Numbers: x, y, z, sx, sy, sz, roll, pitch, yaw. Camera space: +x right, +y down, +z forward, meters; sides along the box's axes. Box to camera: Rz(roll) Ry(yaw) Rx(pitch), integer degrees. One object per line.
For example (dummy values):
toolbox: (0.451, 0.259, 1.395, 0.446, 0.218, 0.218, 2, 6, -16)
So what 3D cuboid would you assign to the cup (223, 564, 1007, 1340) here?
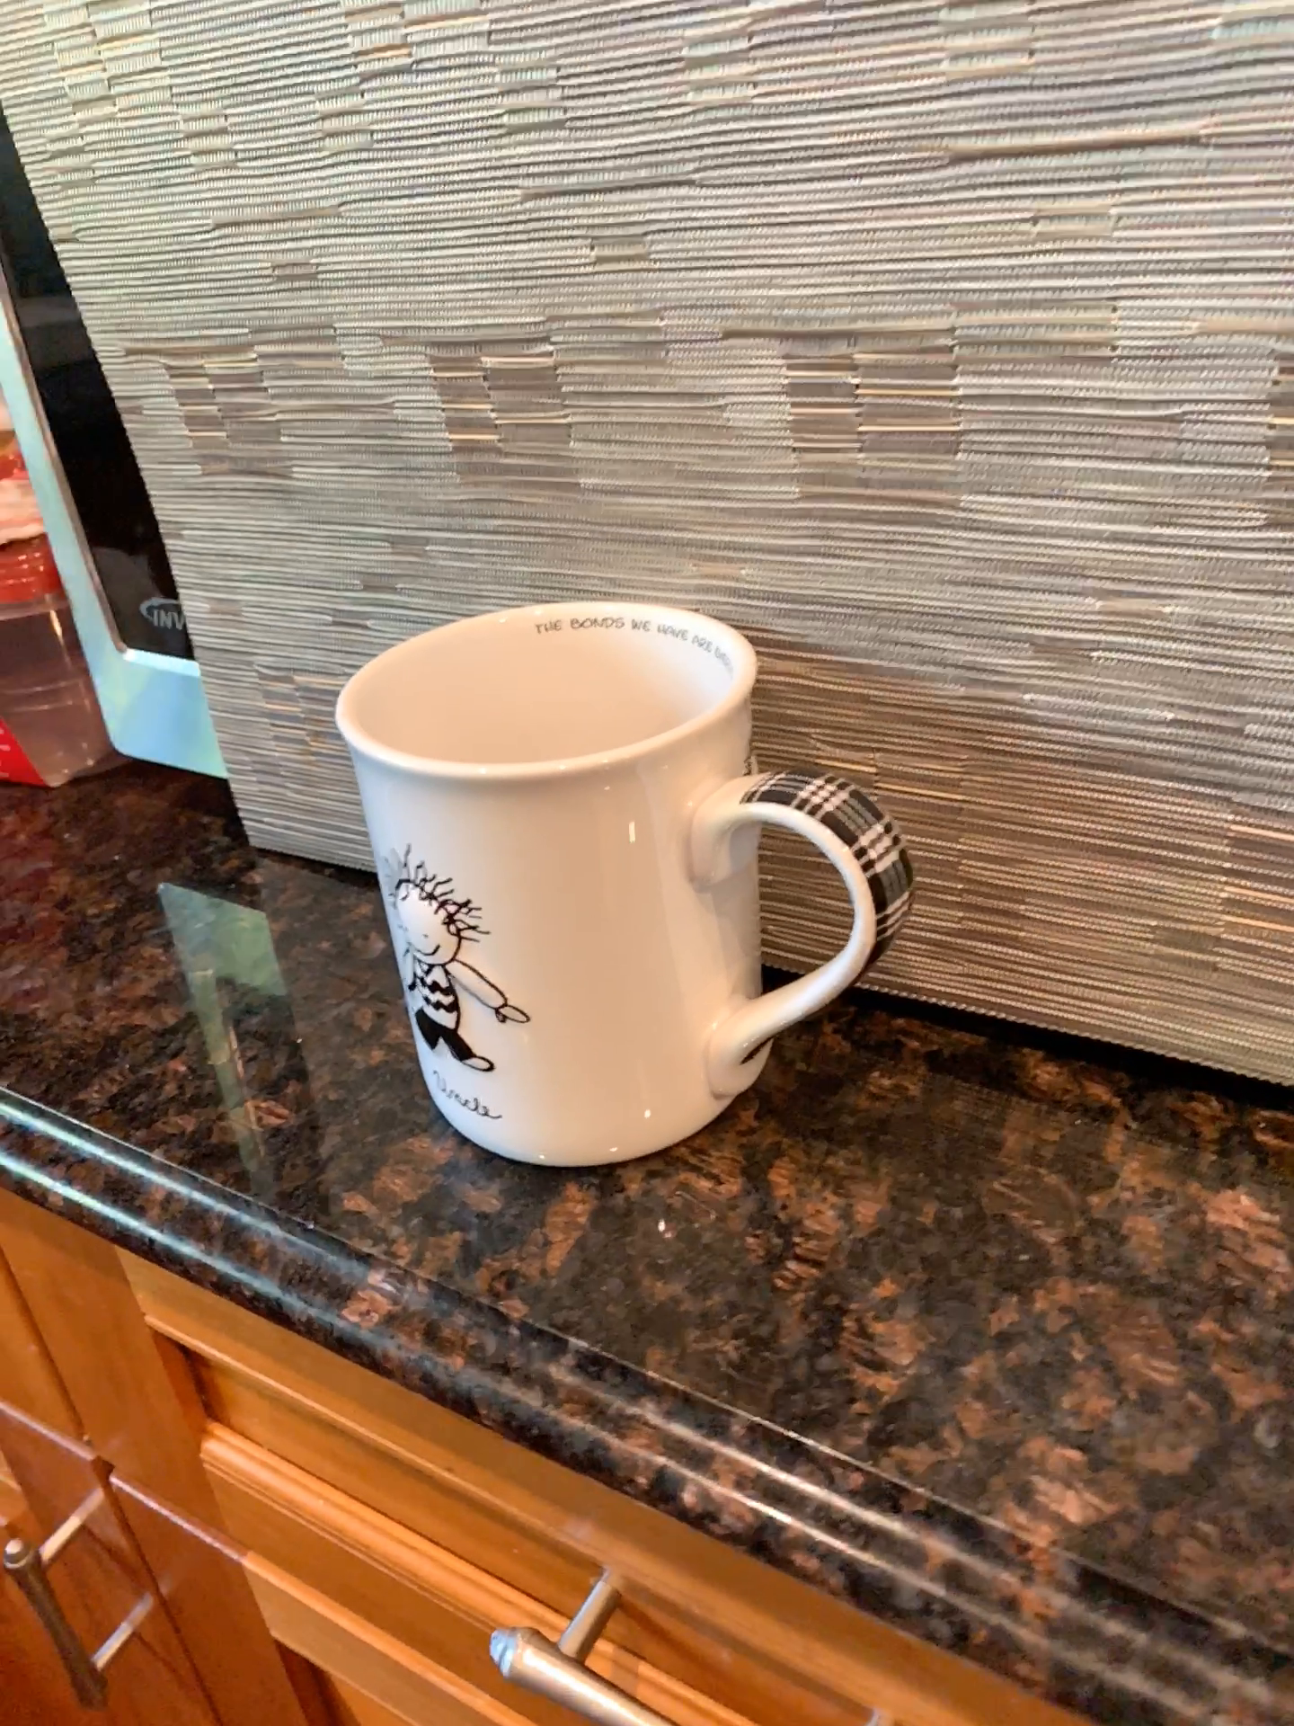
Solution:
cup: (-0.003, 0.008, 0.307, 0.130, 0.109, 0.100, 17, 37, 33)
